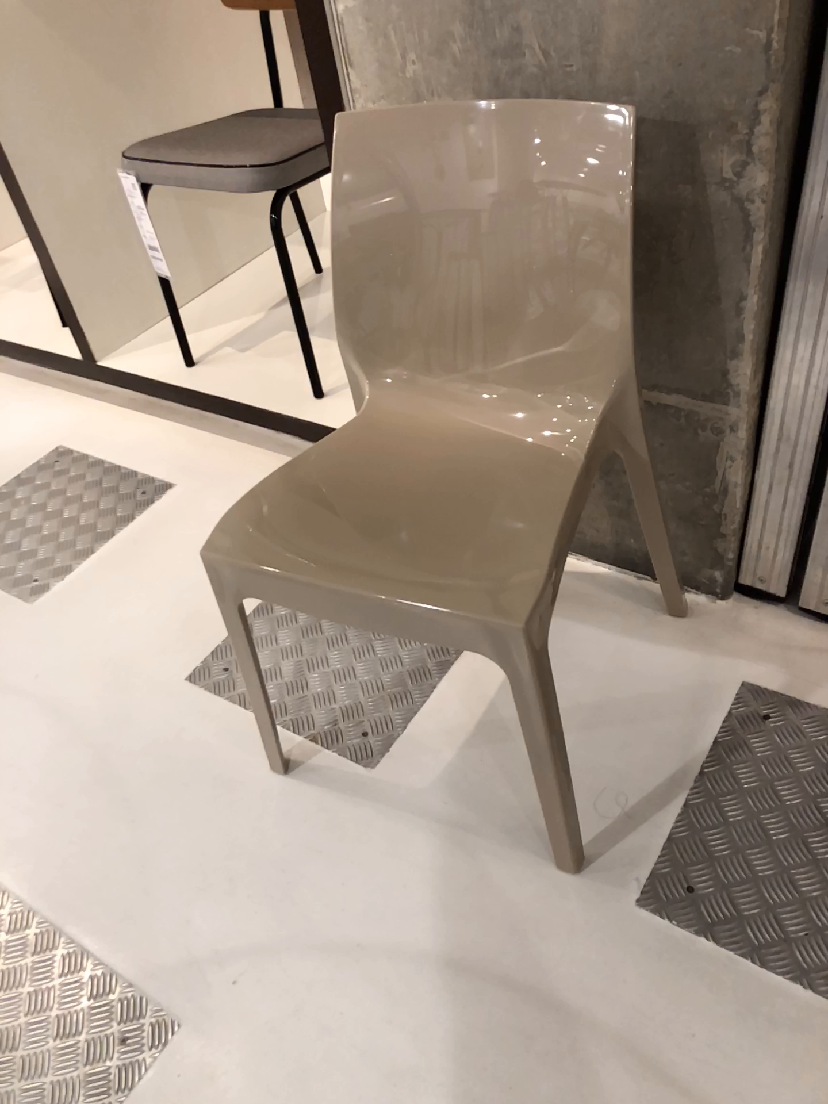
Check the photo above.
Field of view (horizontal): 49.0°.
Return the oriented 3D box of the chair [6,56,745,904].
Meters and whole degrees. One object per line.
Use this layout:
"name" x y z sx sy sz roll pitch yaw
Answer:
"chair" 0.048 -0.095 1.174 0.551 0.824 0.563 12 46 25
